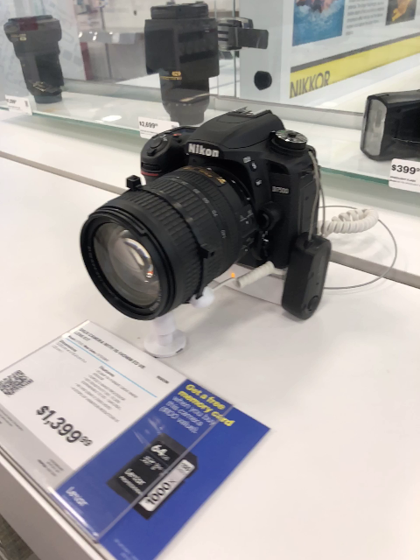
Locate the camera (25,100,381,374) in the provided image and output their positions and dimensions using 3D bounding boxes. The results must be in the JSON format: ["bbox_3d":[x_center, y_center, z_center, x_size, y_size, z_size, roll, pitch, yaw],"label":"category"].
[{"bbox_3d":[0.004,-0.052,0.328,0.160,0.100,0.170,18,38,31],"label":"camera"}]
